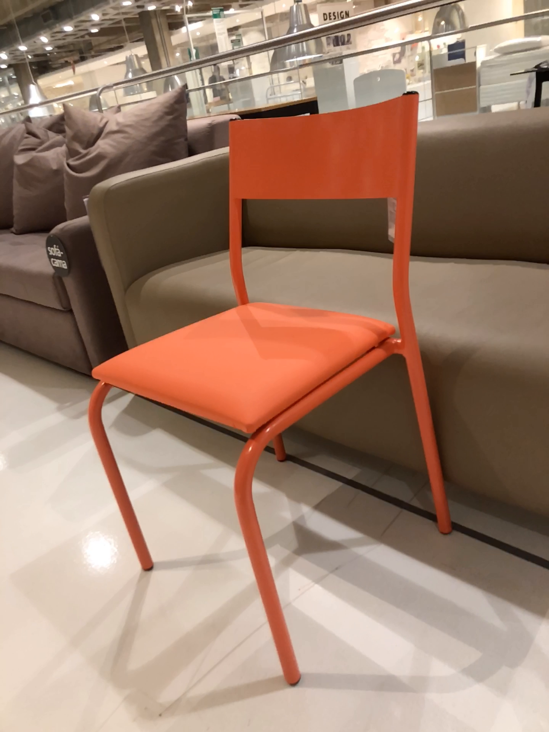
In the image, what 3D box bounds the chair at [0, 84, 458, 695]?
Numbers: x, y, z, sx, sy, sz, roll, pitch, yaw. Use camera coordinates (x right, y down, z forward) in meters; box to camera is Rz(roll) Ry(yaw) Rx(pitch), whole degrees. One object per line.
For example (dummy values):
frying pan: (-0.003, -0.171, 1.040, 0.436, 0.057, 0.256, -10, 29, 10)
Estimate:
chair: (-0.050, -0.007, 1.065, 0.492, 0.785, 0.502, -29, 30, -36)
